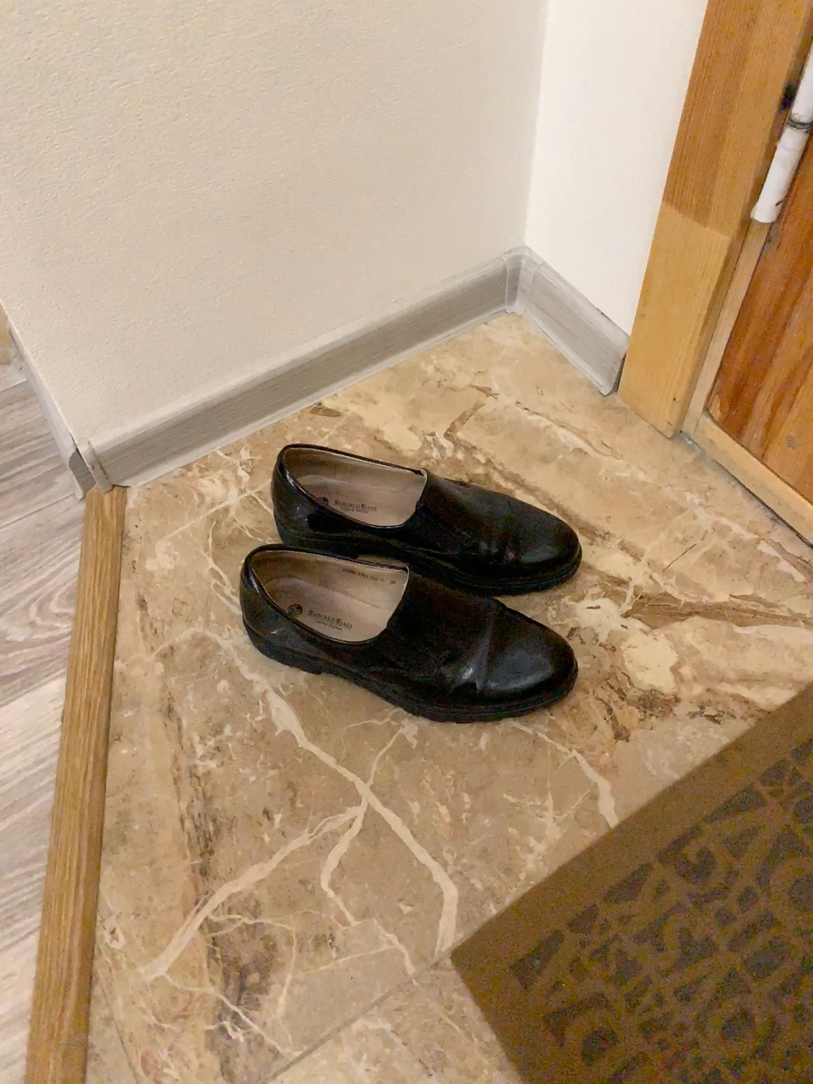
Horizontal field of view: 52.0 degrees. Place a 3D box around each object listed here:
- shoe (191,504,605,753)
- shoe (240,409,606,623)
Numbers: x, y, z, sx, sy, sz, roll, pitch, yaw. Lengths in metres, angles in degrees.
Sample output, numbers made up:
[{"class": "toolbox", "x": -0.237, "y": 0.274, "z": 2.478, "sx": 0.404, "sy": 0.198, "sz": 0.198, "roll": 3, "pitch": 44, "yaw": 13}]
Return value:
[{"class": "shoe", "x": -0.003, "y": 0.060, "z": 0.593, "sx": 0.260, "sy": 0.100, "sz": 0.090, "roll": 10, "pitch": 56, "yaw": 10}, {"class": "shoe", "x": 0.015, "y": -0.021, "z": 0.663, "sx": 0.260, "sy": 0.100, "sz": 0.090, "roll": 9, "pitch": 55, "yaw": 9}]
